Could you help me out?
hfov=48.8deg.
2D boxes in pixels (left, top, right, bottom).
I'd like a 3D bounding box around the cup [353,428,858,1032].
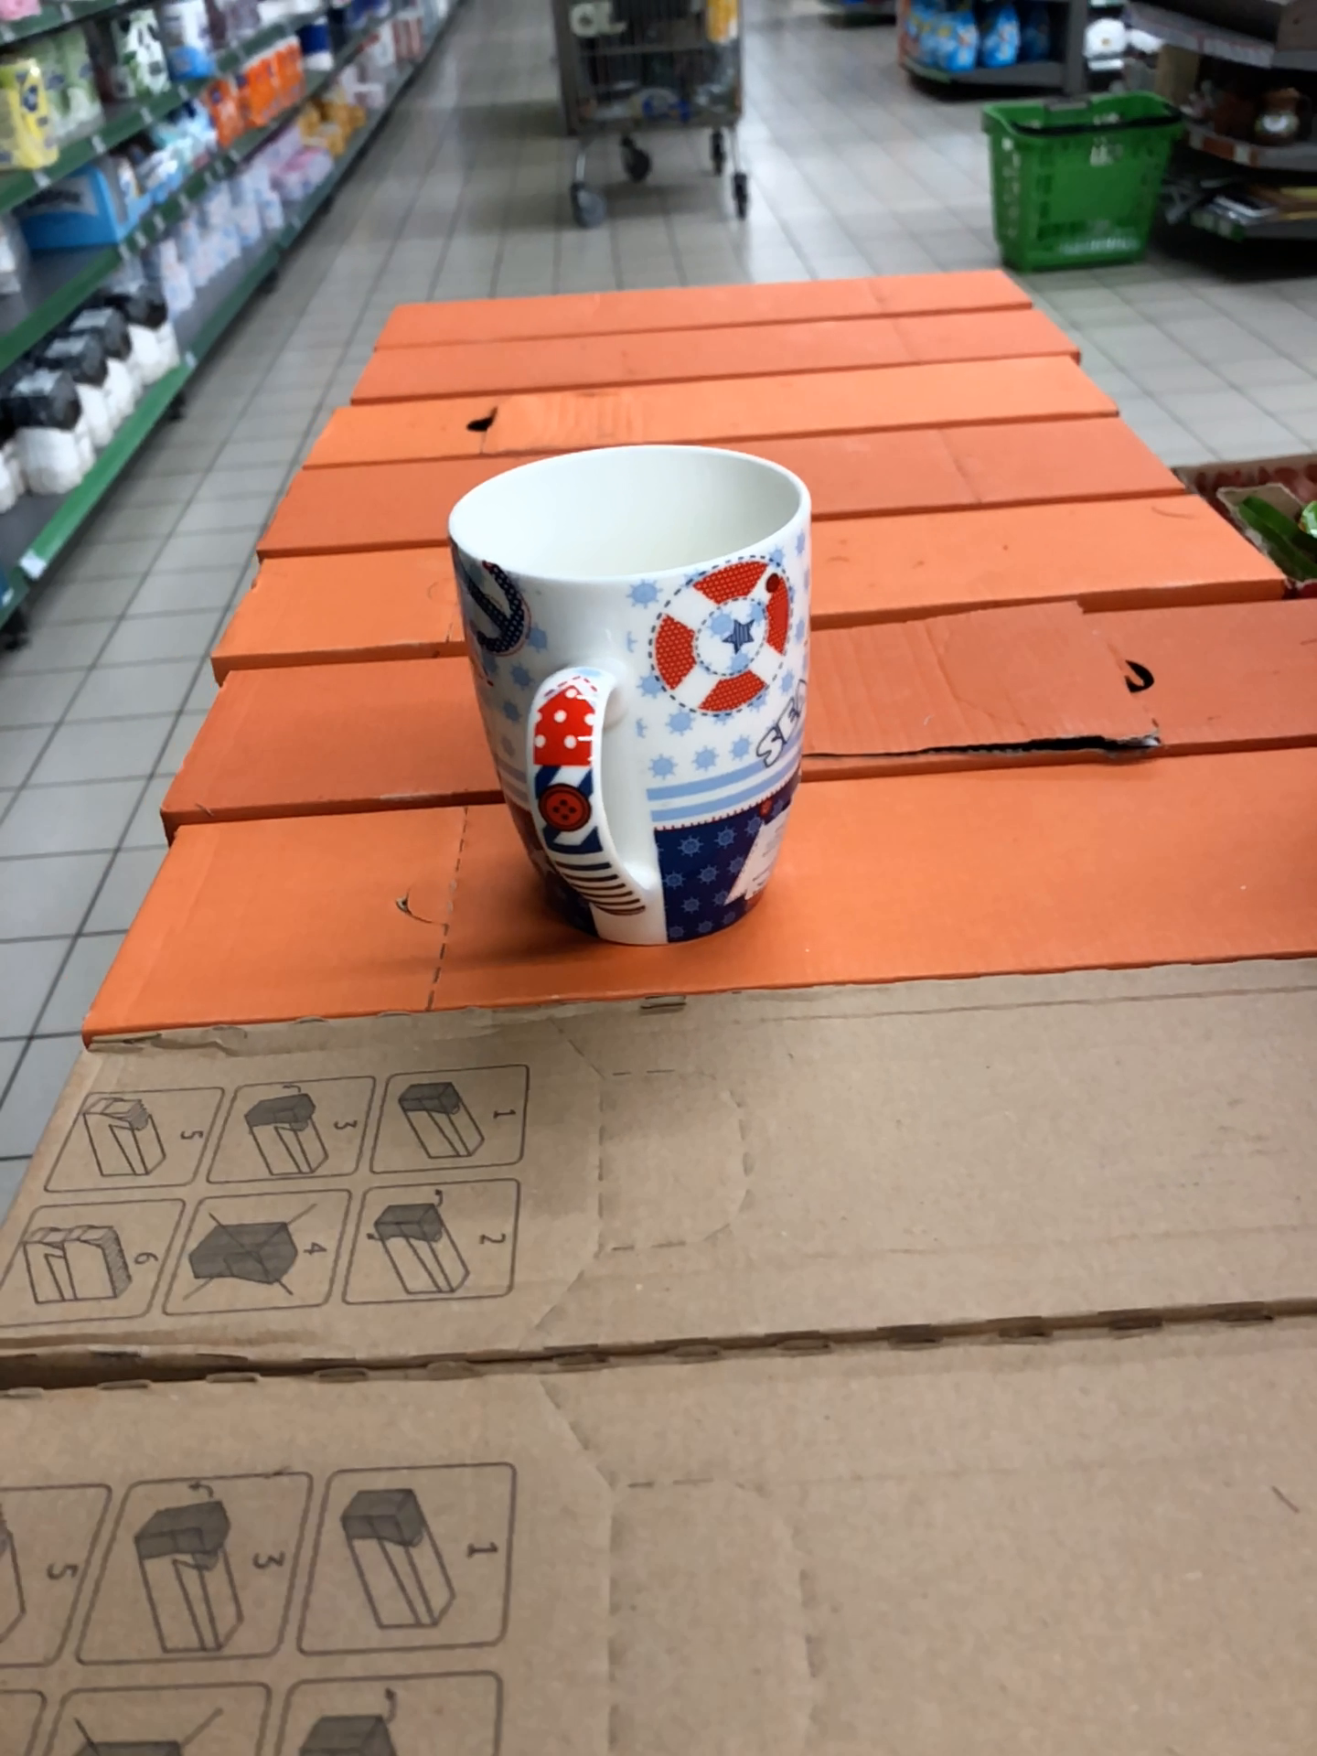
[{"bbox_3d":[-0.001,-0.039,0.337,0.086,0.092,0.113,3,35,12],"label":"cup"}]
